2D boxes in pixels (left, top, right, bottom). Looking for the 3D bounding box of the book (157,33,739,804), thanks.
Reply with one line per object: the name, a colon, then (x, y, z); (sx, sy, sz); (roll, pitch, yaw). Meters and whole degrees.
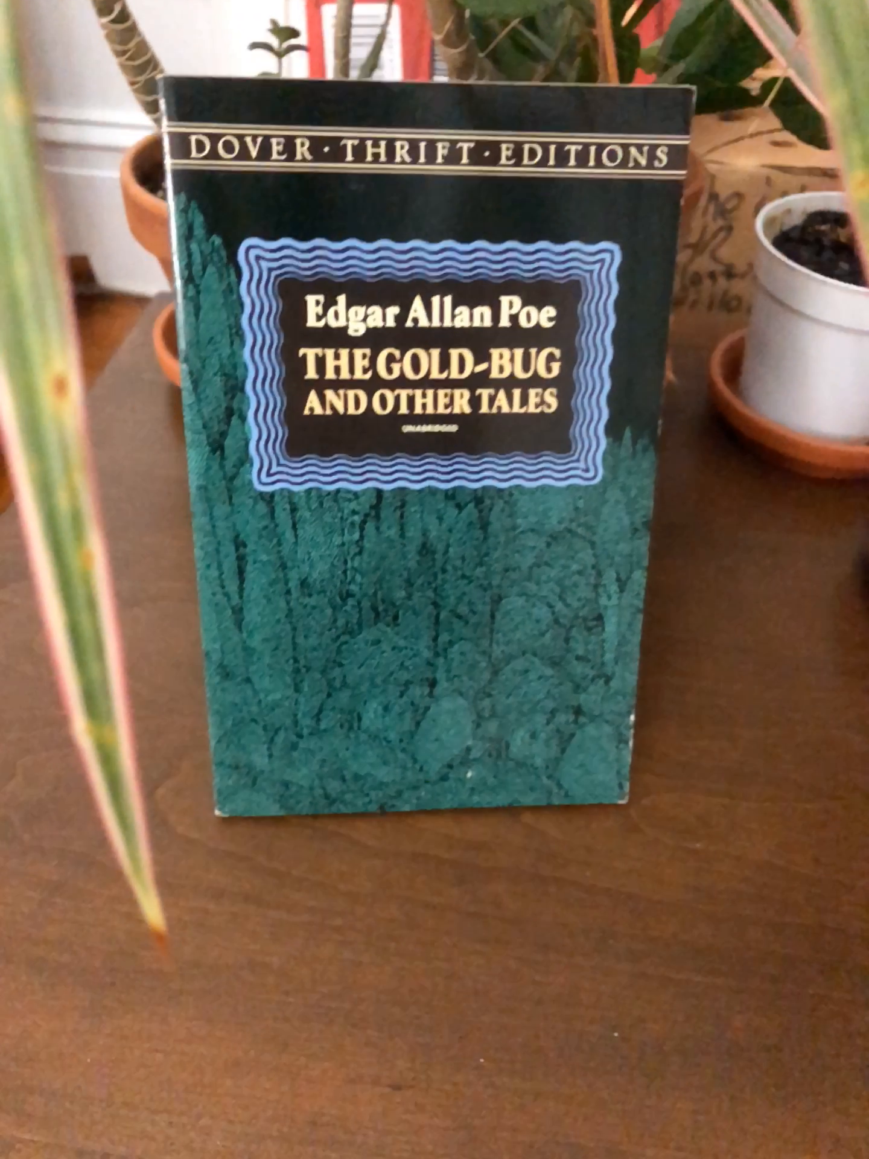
book: (0.003, -0.034, 0.278); (0.140, 0.209, 0.020); (-1, 20, -5)
